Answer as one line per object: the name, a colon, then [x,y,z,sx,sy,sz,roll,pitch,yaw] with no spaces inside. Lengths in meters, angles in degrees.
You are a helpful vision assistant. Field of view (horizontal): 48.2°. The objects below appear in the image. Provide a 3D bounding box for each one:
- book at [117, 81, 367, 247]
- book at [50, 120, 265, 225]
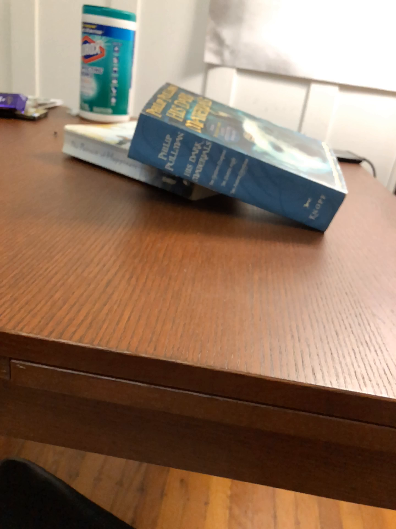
book: [0.048,-0.124,0.509,0.240,0.060,0.171,20,28,-7]
book: [-0.057,-0.140,0.611,0.240,0.040,0.171,28,36,30]
